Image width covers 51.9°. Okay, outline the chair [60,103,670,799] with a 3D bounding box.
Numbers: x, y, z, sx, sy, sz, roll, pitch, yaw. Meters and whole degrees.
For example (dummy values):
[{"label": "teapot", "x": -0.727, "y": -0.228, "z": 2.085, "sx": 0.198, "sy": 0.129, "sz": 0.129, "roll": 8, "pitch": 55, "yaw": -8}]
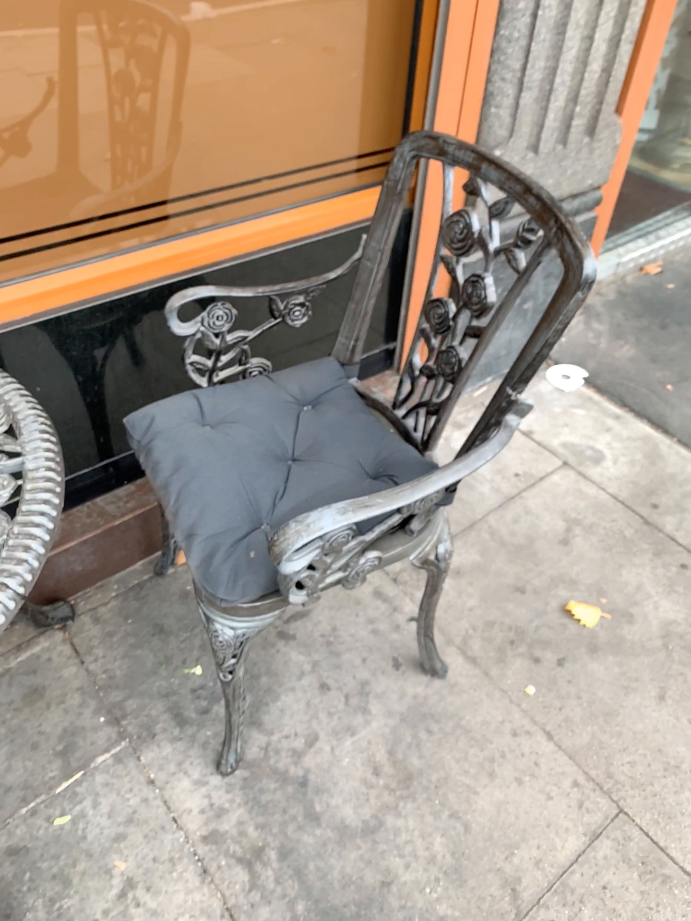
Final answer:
[{"label": "chair", "x": -0.040, "y": -0.019, "z": 1.109, "sx": 0.551, "sy": 0.852, "sz": 0.493, "roll": -17, "pitch": 46, "yaw": -28}]
